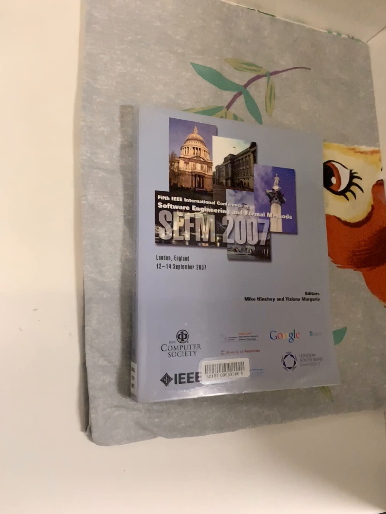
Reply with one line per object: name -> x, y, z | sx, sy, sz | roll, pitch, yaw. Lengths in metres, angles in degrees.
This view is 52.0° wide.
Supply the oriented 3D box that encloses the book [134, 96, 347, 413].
book -> 0.050, -0.004, 0.392 | 0.210, 0.030, 0.275 | 3, 81, -22
